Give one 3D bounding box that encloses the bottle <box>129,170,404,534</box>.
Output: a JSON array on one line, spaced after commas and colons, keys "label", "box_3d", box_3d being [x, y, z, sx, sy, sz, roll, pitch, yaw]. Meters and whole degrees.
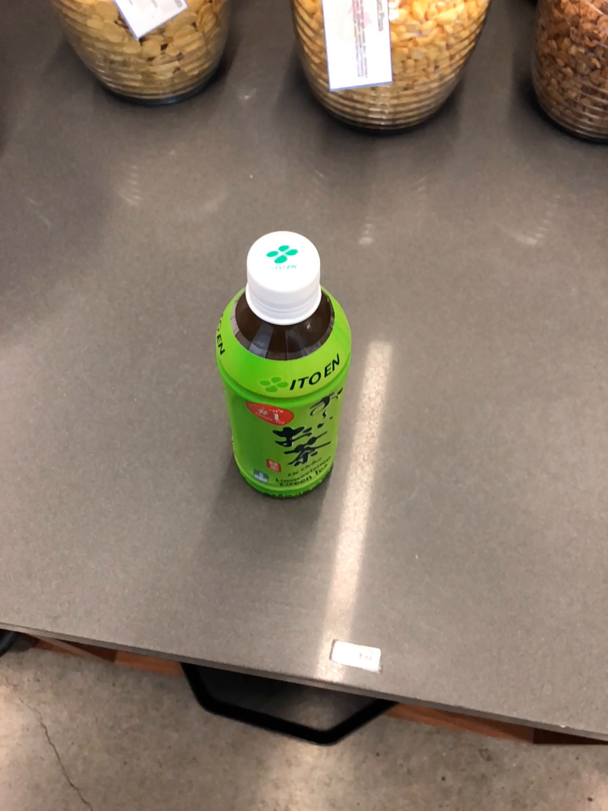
[{"label": "bottle", "box_3d": [-0.016, -0.013, 0.363, 0.080, 0.190, 0.080, 0, 64, -1]}]
